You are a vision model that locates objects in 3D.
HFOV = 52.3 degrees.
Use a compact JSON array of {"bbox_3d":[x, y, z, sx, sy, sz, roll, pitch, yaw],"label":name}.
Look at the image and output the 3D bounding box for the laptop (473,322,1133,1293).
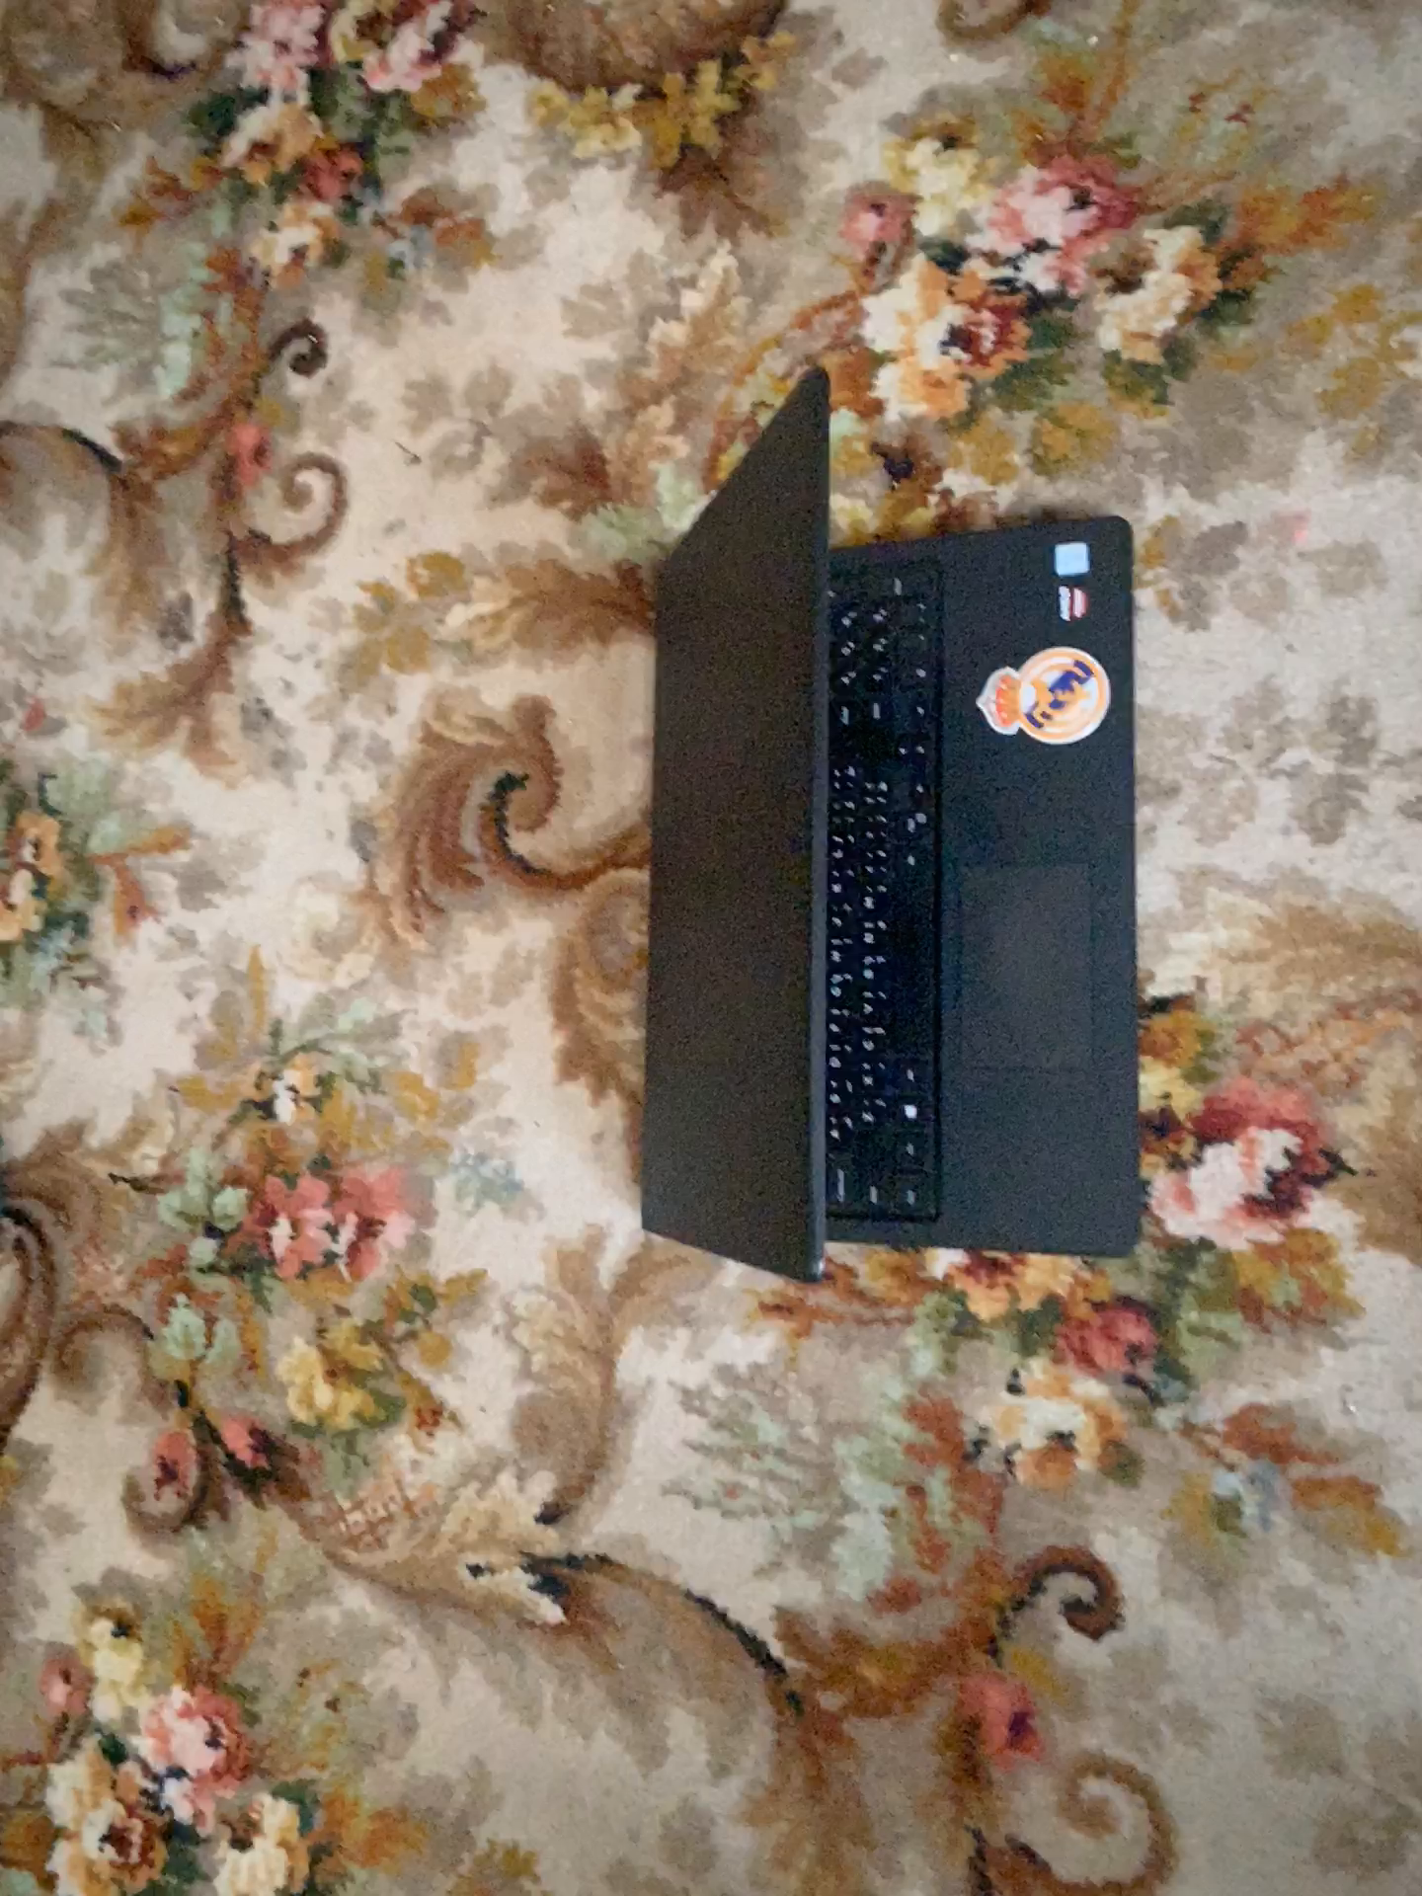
[{"bbox_3d":[0.055,-0.044,0.671,0.251,0.194,0.367,-2,82,21],"label":"laptop"}]
